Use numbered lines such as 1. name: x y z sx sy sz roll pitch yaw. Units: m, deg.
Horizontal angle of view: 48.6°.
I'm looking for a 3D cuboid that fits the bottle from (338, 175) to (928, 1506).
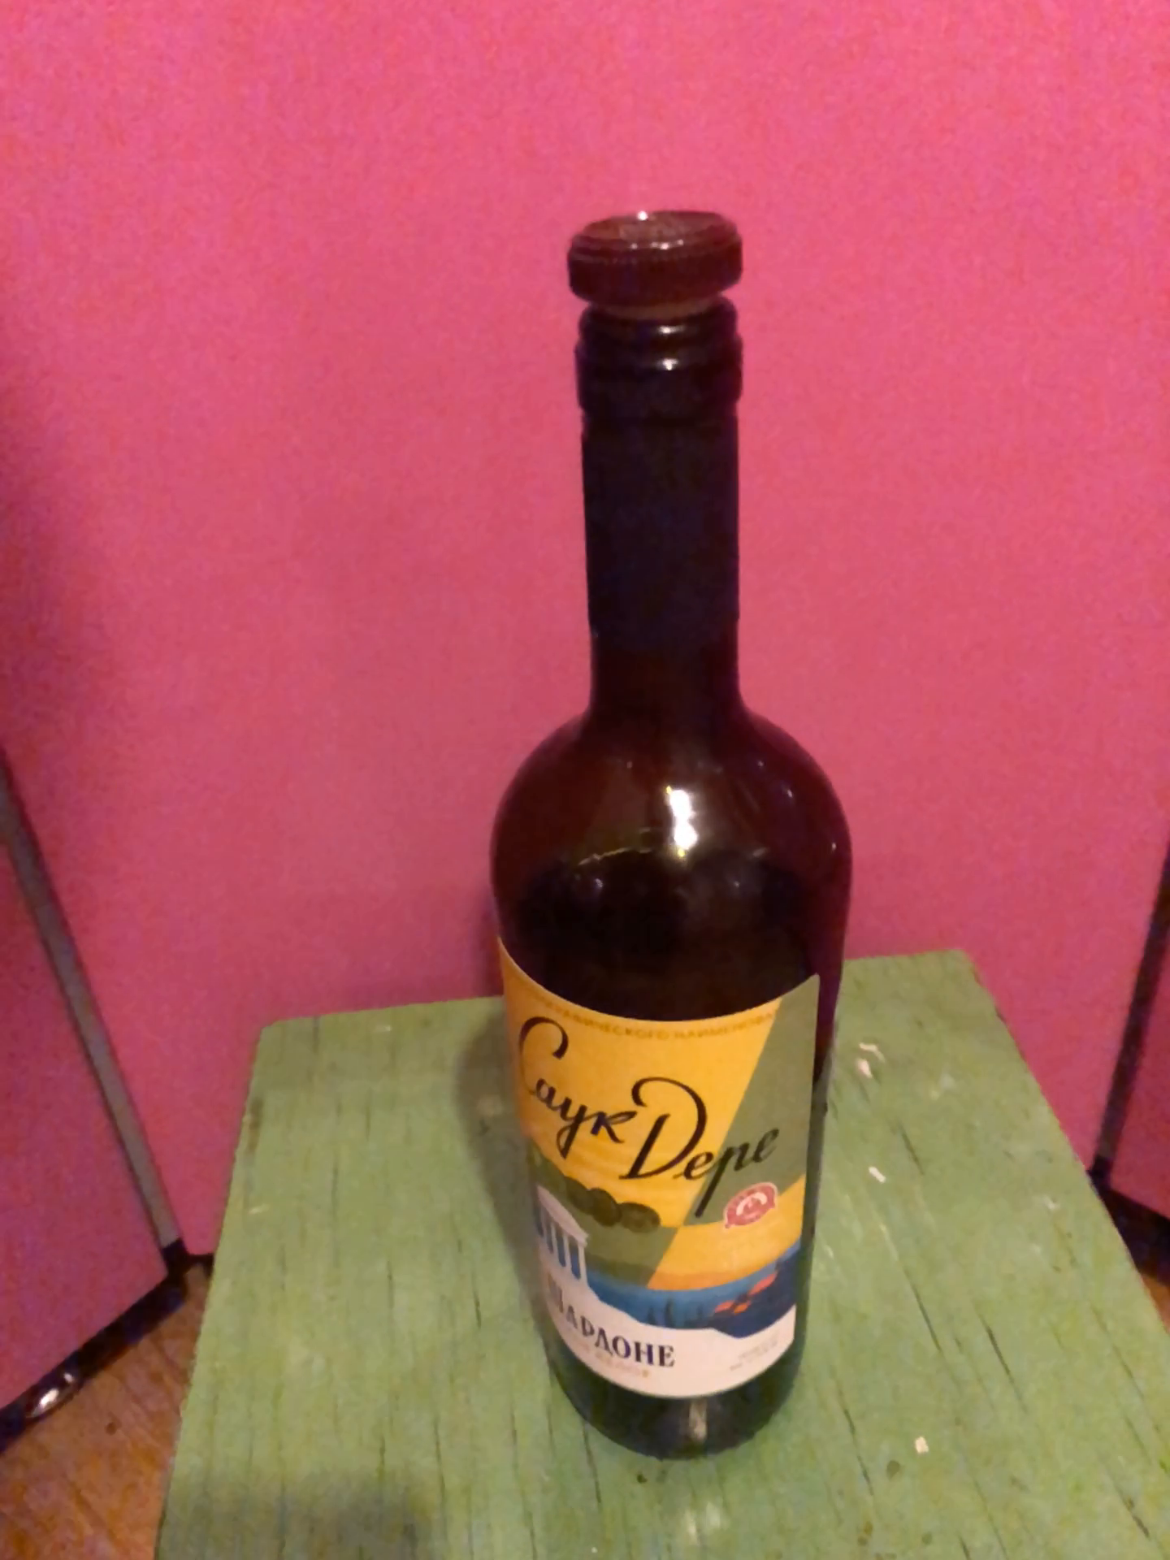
1. bottle: 0.018 0.036 0.289 0.071 0.301 0.071 -2 34 2
